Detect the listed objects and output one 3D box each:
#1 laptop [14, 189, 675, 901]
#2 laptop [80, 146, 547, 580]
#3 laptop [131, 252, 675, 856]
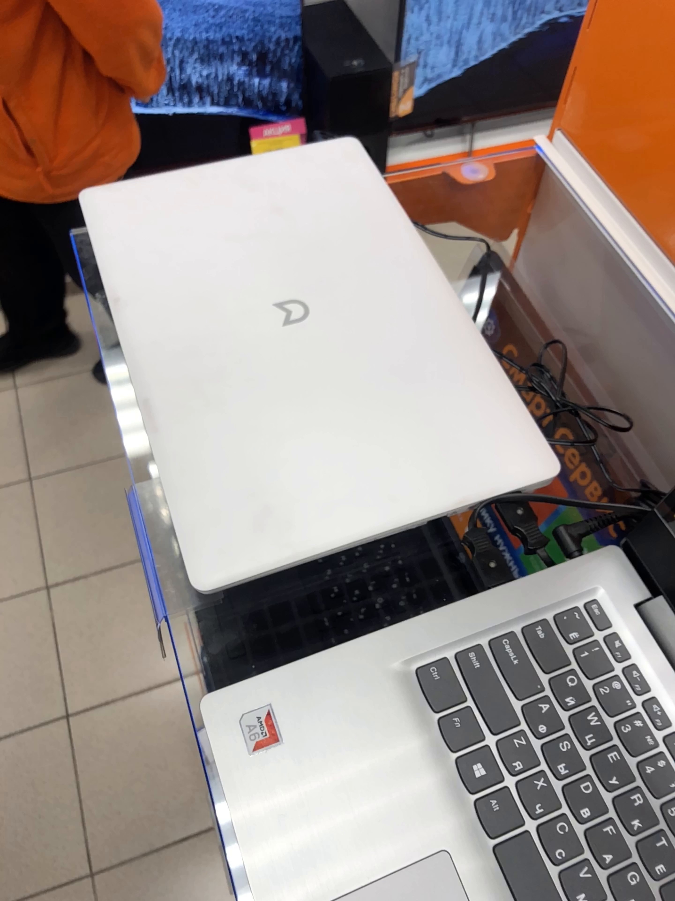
[{"bbox_3d":[0.124,0.150,0.206,0.279,0.224,0.345,-18,59,-14],"label":"laptop"},{"bbox_3d":[-0.033,-0.086,0.485,0.212,0.002,0.313,-16,59,-13],"label":"laptop"},{"bbox_3d":[0.031,0.071,0.621,0.306,0.229,0.365,-14,57,-12],"label":"laptop"}]
